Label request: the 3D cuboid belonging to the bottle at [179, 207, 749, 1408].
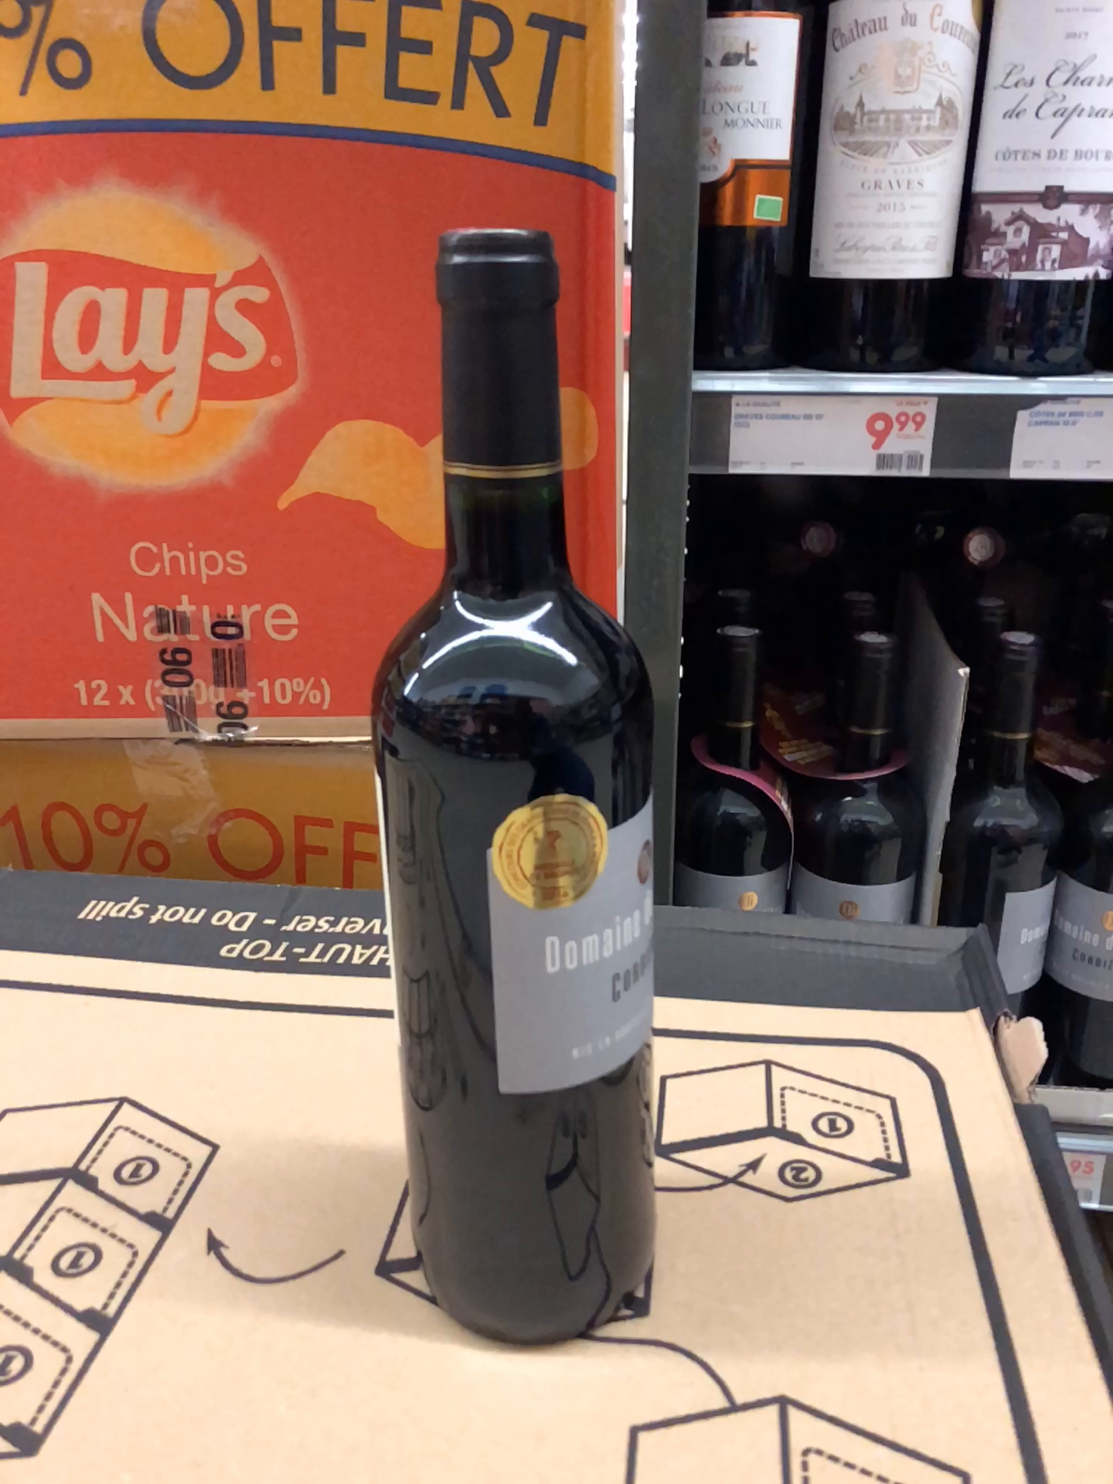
[{"bbox_3d":[-0.014,0.016,0.315,0.090,0.279,0.091,0,21,0],"label":"bottle"}]
